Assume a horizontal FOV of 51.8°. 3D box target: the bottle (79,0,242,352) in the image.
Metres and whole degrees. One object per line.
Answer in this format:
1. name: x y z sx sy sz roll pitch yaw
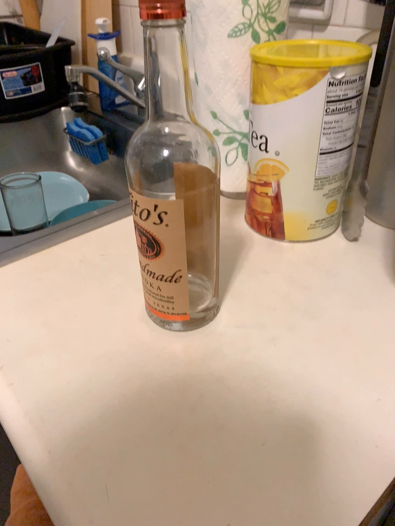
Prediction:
1. bottle: -0.024 -0.064 0.353 0.080 0.288 0.080 -1 36 1
